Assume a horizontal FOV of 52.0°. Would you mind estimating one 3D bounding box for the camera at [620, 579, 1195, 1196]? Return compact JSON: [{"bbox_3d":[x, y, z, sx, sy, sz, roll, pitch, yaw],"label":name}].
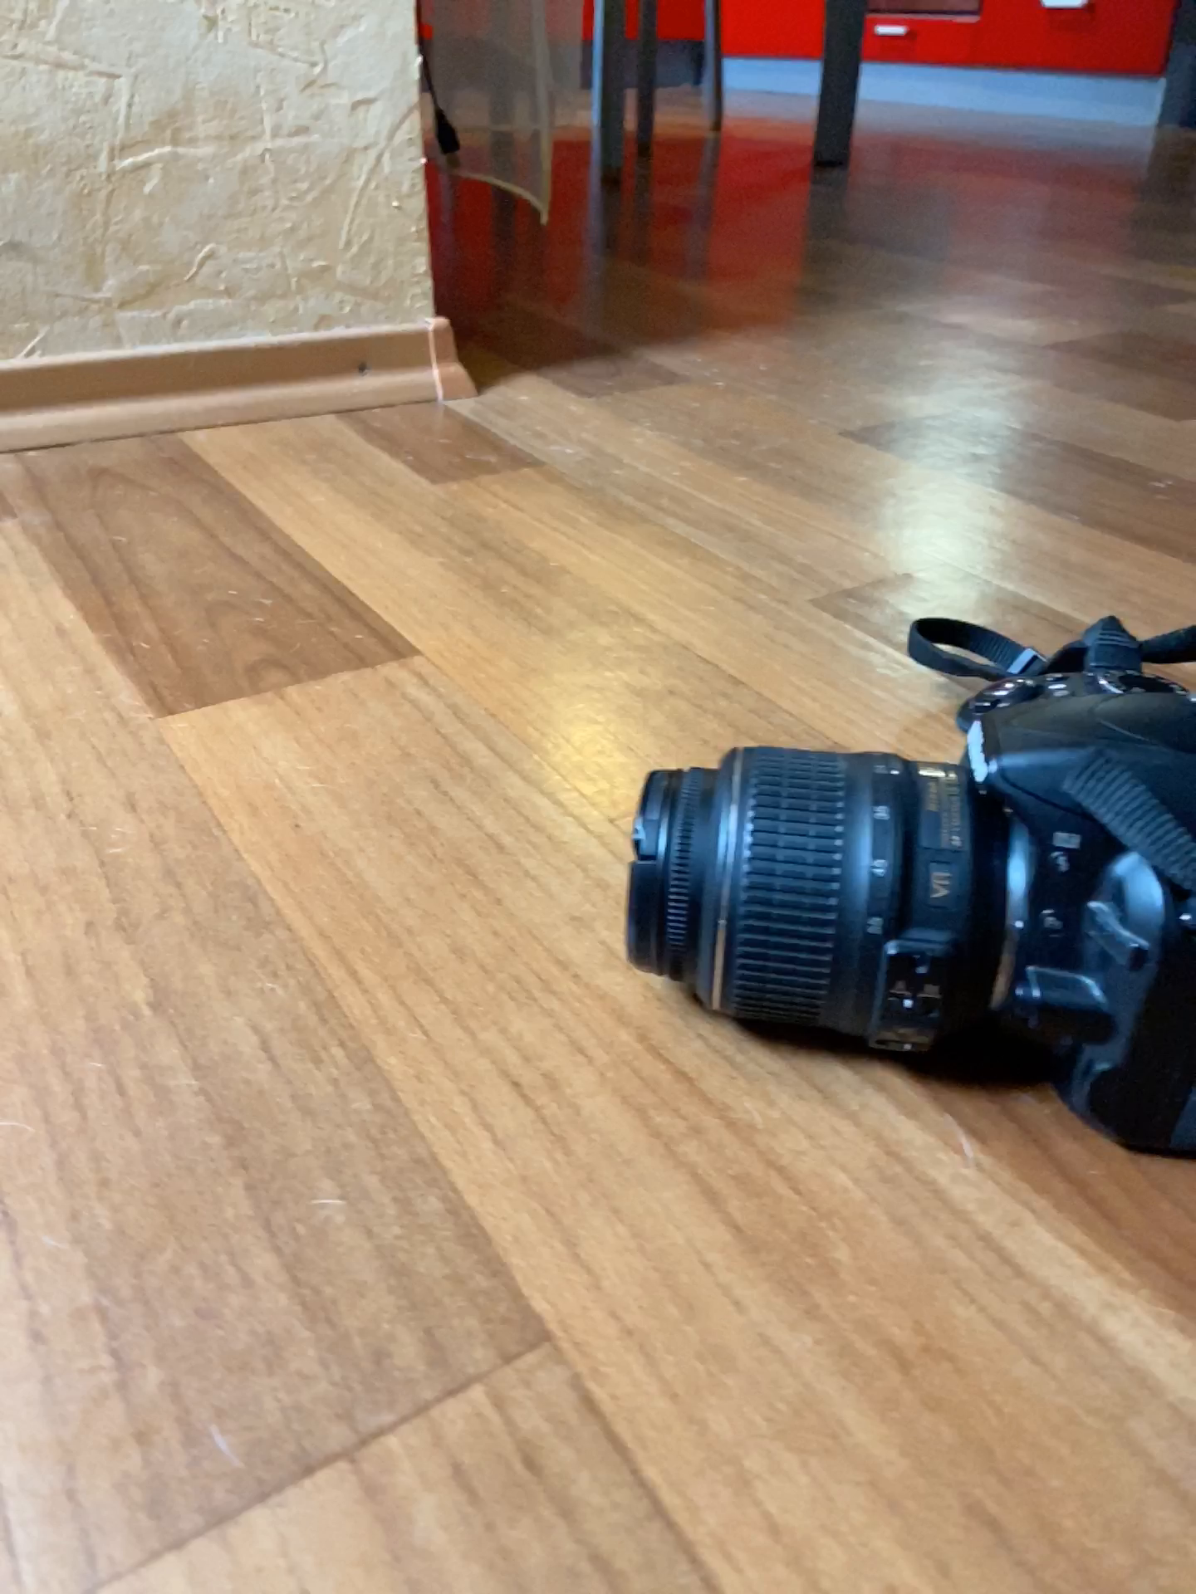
[{"bbox_3d":[0.088,0.016,0.325,0.153,0.100,0.121,4,32,5],"label":"camera"}]
